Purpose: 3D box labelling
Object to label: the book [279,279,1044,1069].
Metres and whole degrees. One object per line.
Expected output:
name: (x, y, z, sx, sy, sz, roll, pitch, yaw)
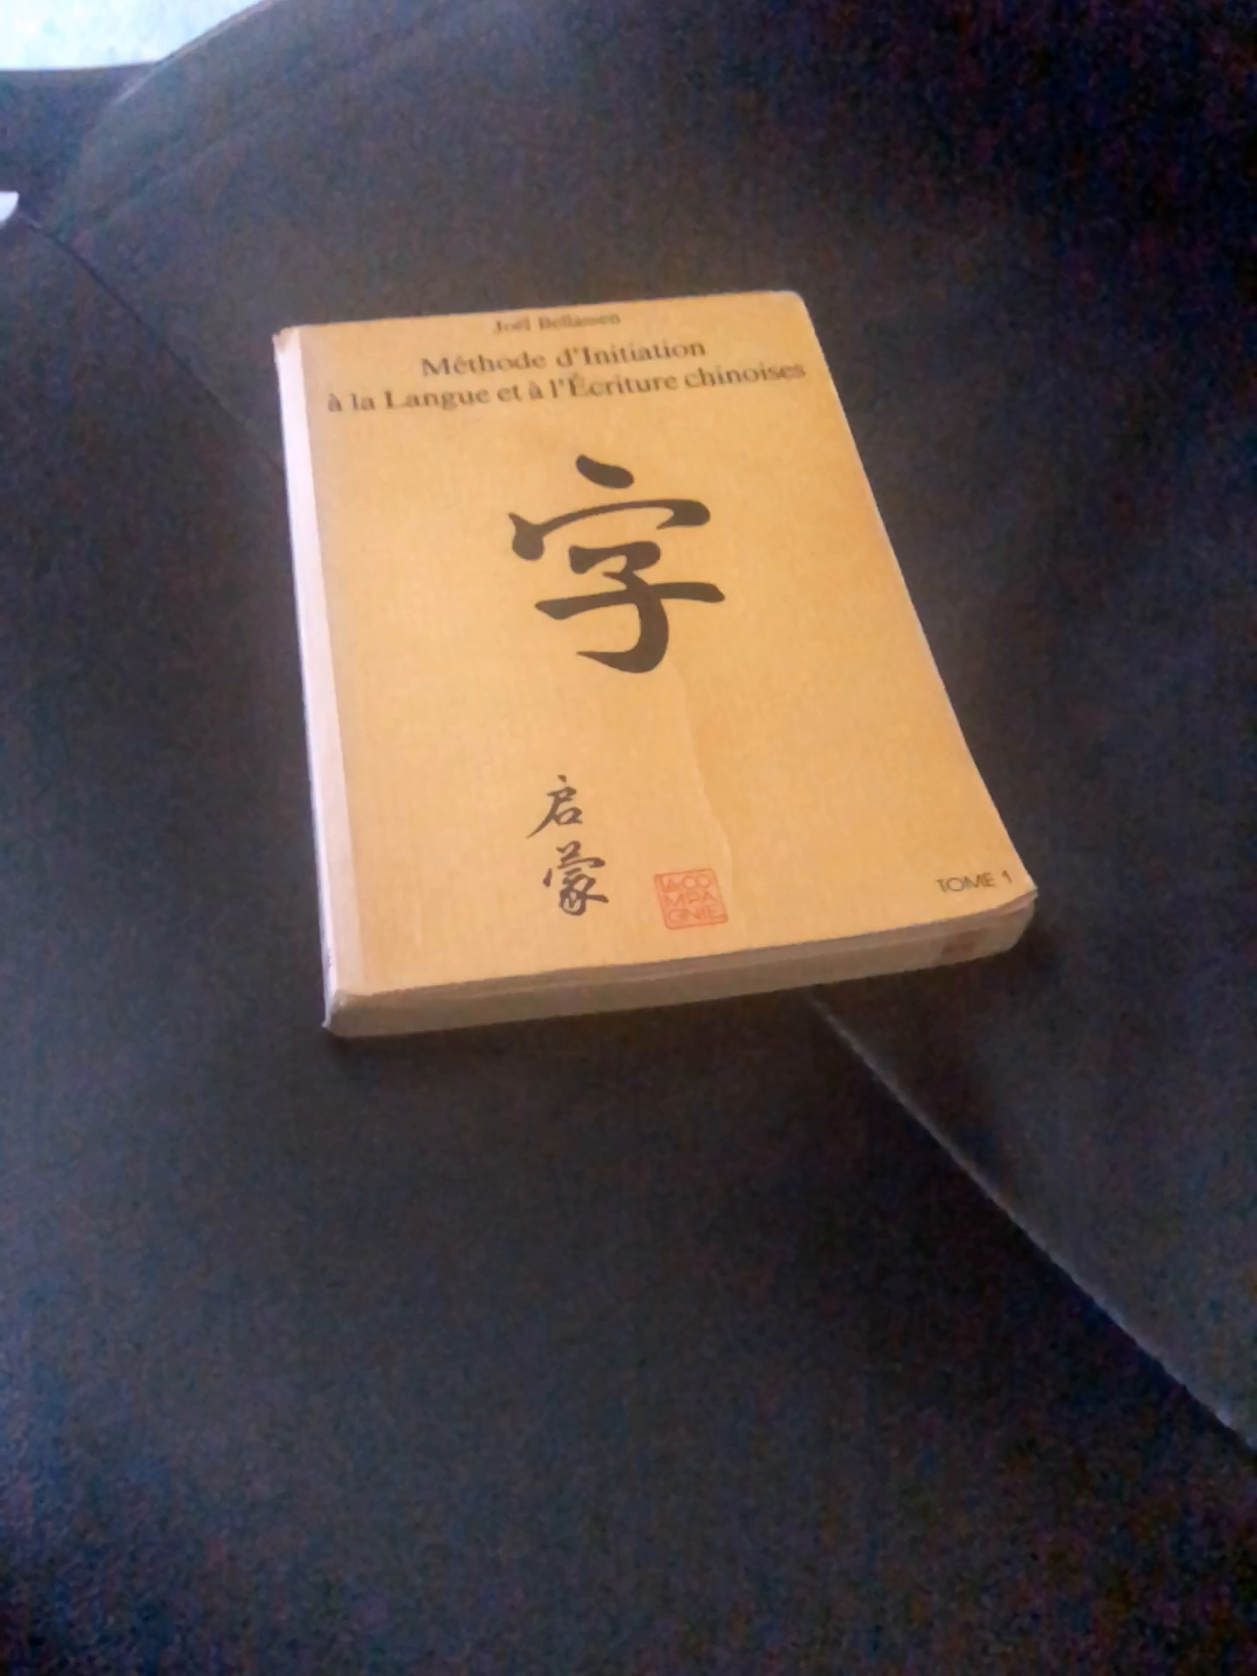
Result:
book: (-0.007, -0.058, 0.354, 0.152, 0.028, 0.221, -8, 55, -5)
